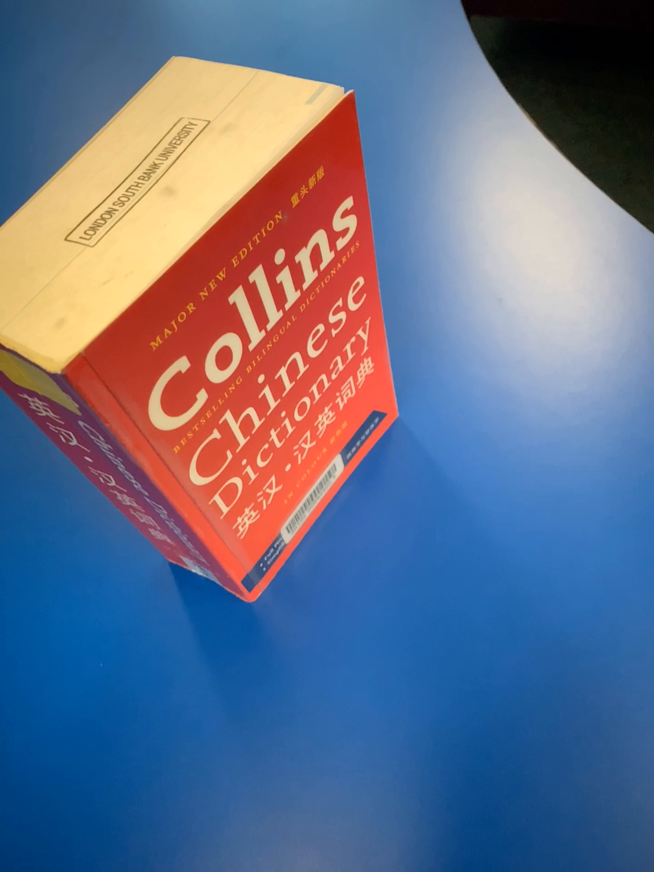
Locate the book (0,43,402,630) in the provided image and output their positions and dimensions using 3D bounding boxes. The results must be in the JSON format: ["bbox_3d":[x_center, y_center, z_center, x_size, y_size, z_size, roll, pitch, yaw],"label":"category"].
[{"bbox_3d":[-0.039,-0.024,0.290,0.080,0.199,0.141,22,65,20],"label":"book"}]
